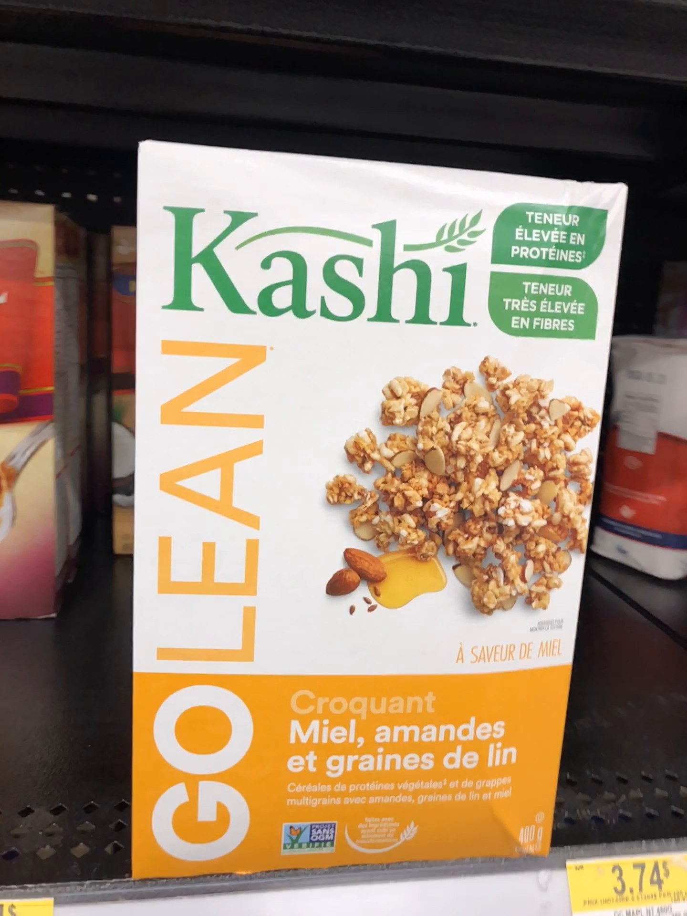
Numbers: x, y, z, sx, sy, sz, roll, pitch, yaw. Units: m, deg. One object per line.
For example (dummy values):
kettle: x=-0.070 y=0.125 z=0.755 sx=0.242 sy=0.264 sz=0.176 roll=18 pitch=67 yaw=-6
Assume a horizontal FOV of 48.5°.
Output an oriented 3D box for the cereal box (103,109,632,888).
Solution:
cereal box: x=0.000 y=0.024 z=0.292 sx=0.170 sy=0.269 sz=0.050 roll=2 pitch=11 yaw=-8
